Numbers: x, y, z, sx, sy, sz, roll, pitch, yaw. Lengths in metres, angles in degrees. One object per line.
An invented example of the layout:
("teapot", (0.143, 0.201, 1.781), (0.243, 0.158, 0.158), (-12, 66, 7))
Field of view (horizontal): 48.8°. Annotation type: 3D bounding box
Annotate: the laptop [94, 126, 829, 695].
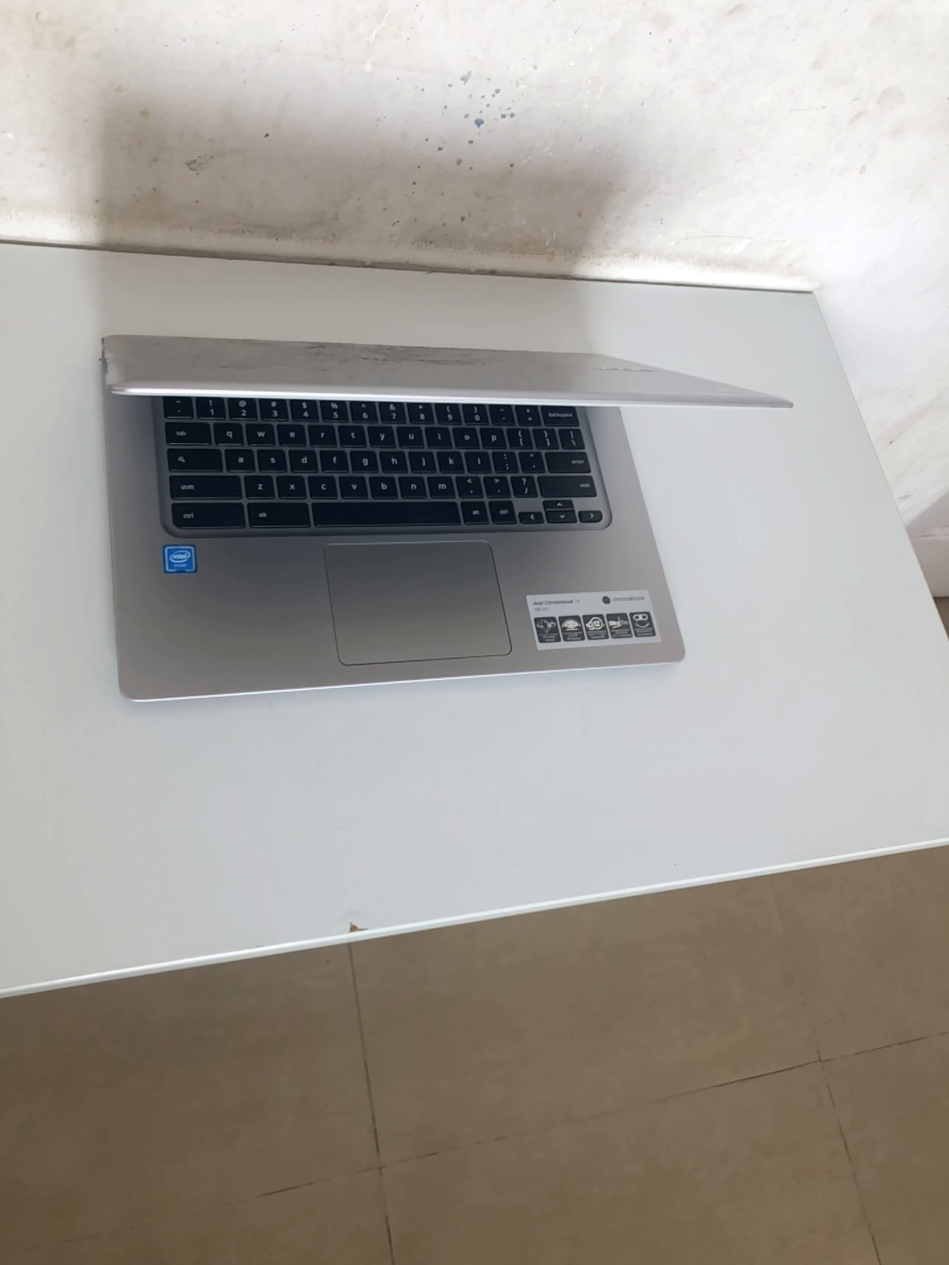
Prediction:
("laptop", (-0.023, -0.110, 0.562), (0.326, 0.155, 0.222), (-3, 66, -20))
